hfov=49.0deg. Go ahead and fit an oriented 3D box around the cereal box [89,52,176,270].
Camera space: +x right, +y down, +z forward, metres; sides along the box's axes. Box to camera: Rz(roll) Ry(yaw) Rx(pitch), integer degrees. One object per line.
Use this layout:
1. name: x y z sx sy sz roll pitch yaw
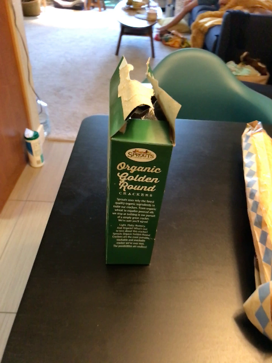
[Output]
1. cereal box: -0.010 -0.024 0.420 0.080 0.248 0.171 2 39 -2
